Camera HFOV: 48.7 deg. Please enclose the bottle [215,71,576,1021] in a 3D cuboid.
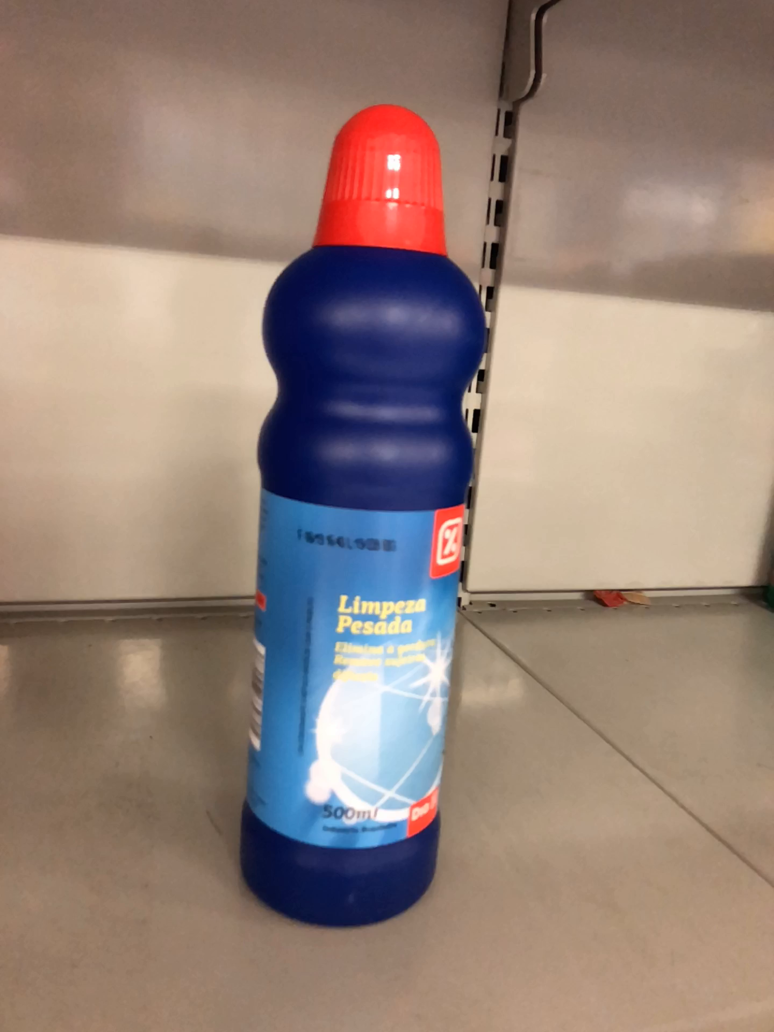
[{"bbox_3d":[-0.007,0.012,0.253,0.070,0.239,0.070,3,13,-1],"label":"bottle"}]
